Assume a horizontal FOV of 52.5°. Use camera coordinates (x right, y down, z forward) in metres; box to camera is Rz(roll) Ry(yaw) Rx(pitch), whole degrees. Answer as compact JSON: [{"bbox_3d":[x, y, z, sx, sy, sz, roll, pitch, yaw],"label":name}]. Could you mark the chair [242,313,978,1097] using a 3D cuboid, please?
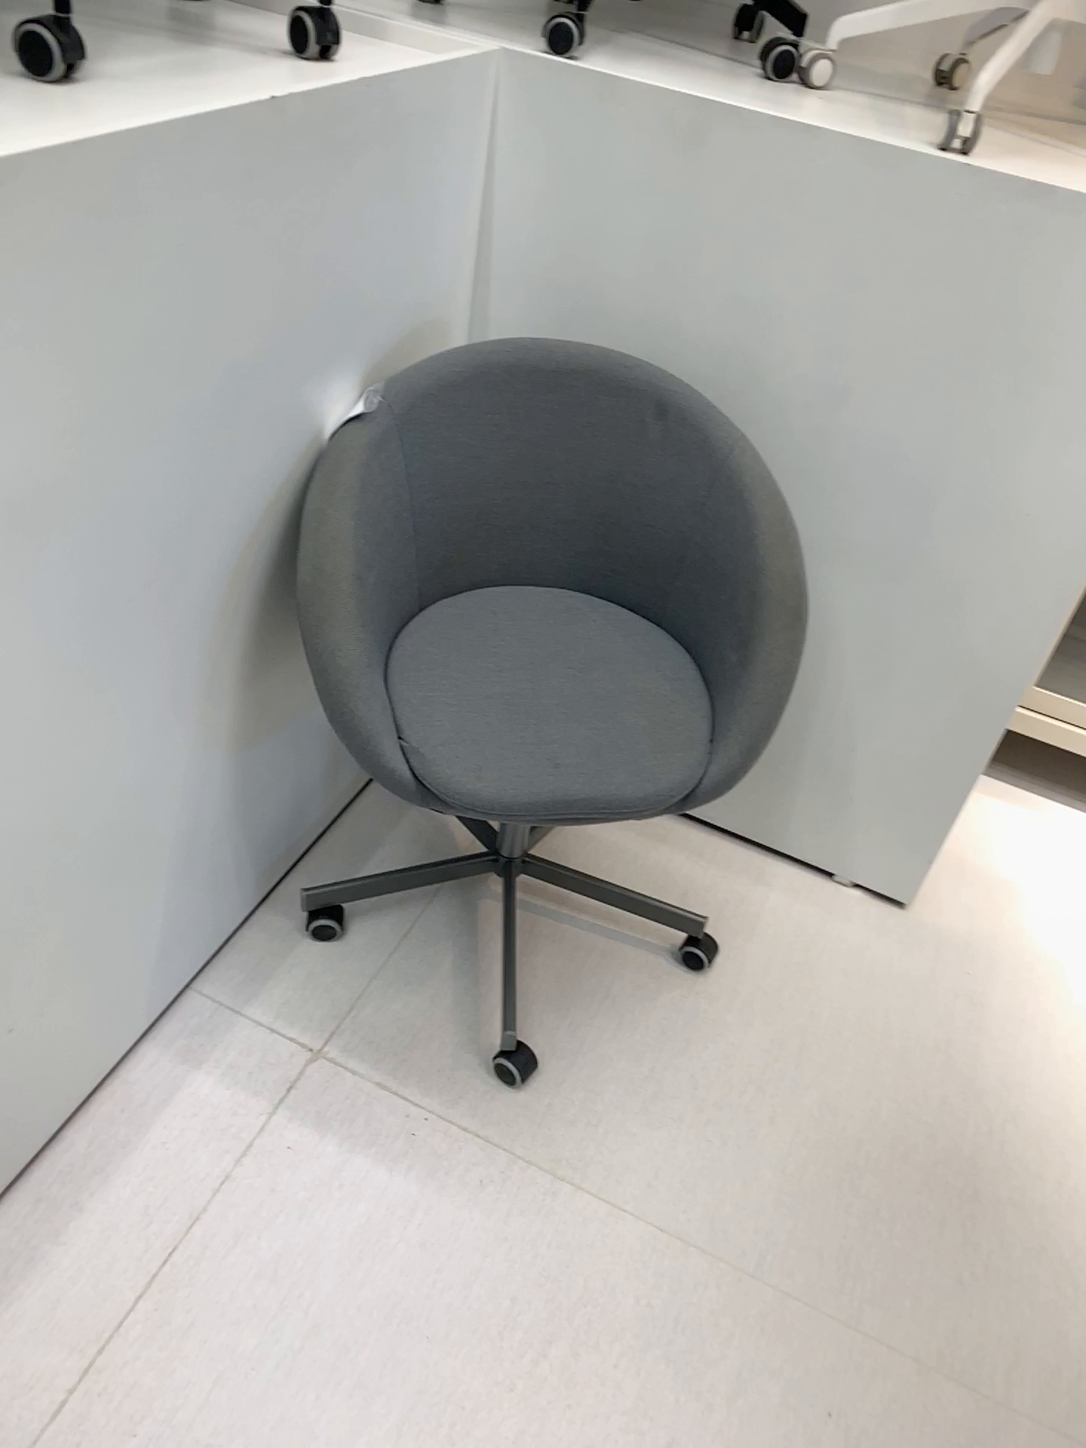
[{"bbox_3d":[-0.009,-0.013,1.593,0.730,0.826,0.713,3,40,-10],"label":"chair"}]
